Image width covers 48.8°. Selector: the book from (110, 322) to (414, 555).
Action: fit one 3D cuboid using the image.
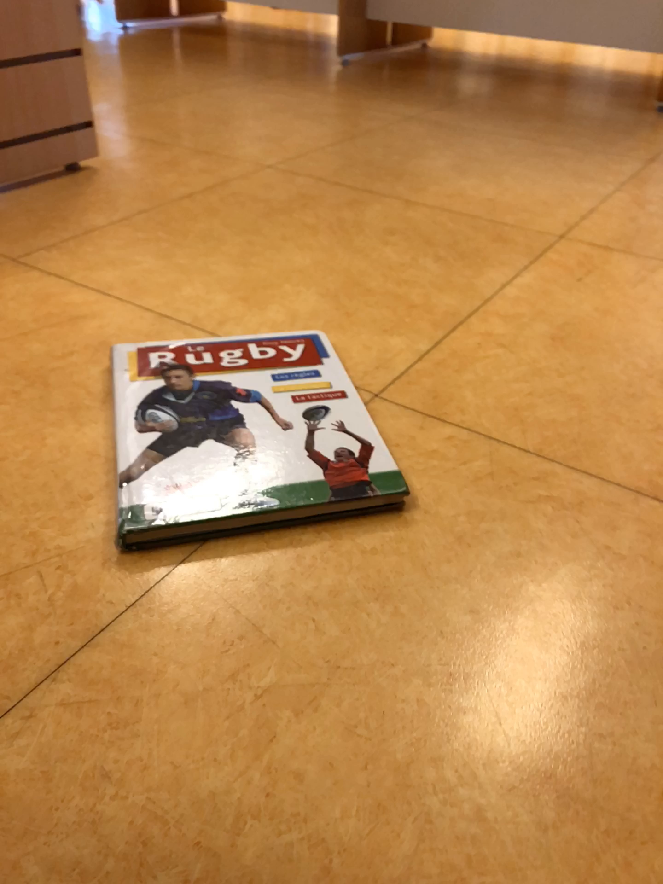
[{"bbox_3d":[-0.073,-0.022,0.600,0.203,0.024,0.261,-7,36,-13],"label":"book"}]
